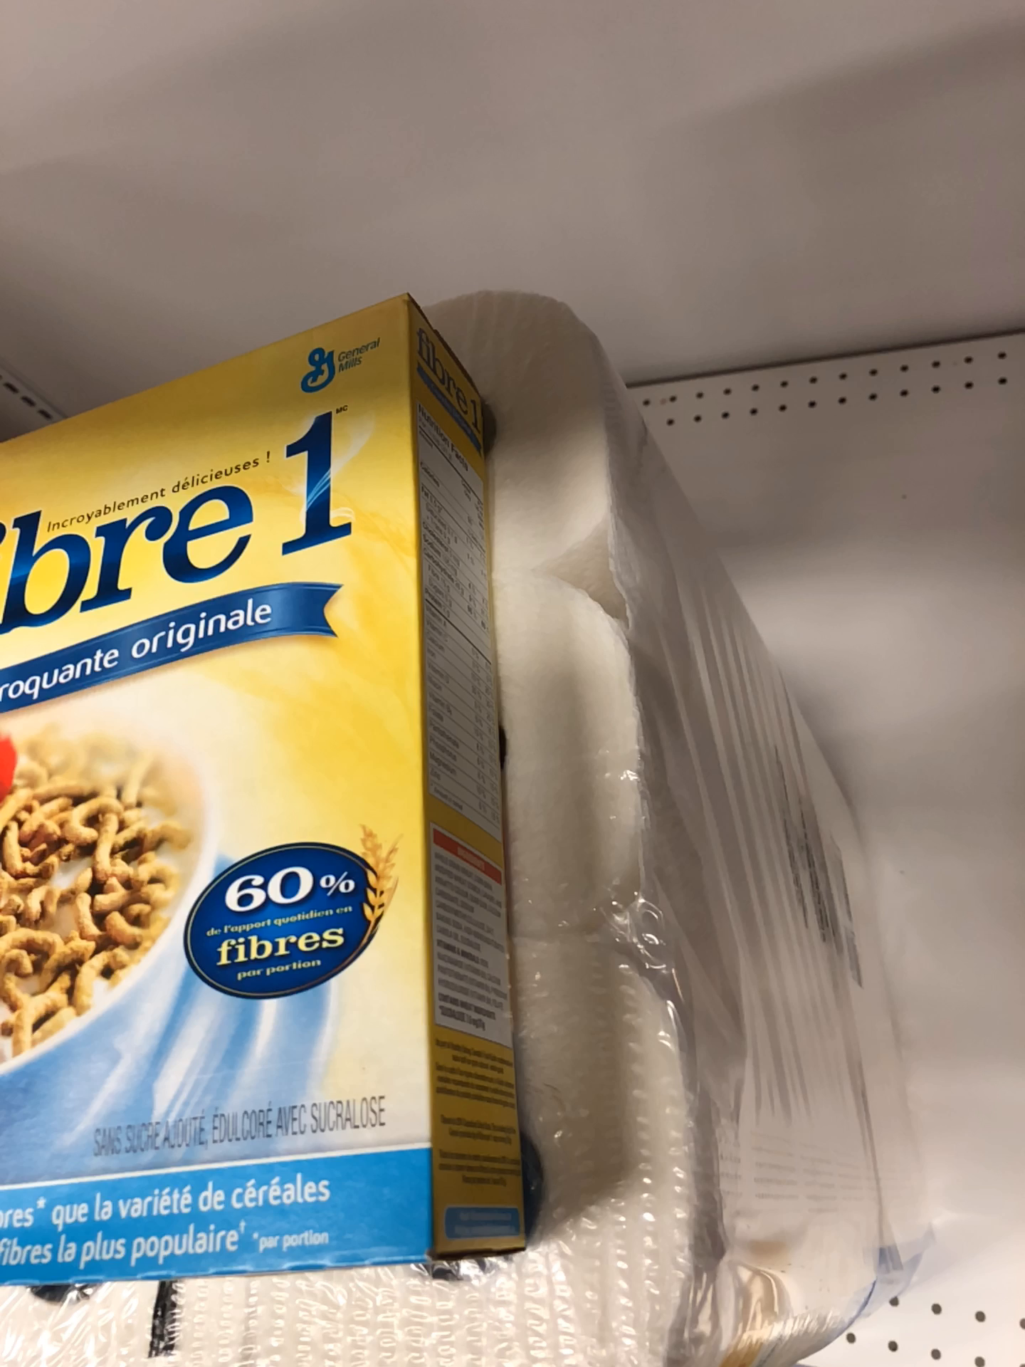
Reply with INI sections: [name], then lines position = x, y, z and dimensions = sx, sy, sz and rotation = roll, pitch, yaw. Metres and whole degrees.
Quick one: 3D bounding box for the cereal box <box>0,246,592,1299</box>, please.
[cereal box]
position = -0.093, 0.026, 0.332
dimensions = 0.200, 0.060, 0.260
rotation = -13, 65, 20
